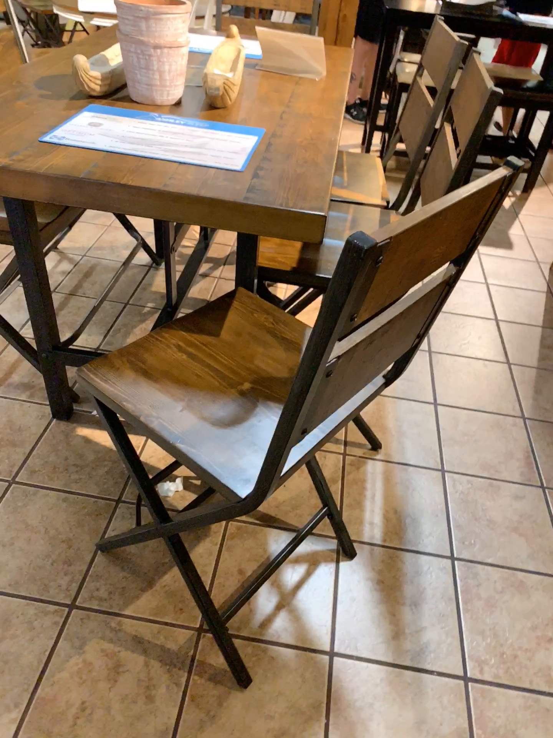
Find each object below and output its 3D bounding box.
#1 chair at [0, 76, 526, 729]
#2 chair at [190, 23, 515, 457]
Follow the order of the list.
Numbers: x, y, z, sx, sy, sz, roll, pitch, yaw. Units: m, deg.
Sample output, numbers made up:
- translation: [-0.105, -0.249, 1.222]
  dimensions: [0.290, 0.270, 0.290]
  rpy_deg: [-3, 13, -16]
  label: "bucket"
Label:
- translation: [-0.069, 0.061, 1.076]
  dimensions: [0.616, 0.983, 0.444]
  rpy_deg: [30, 43, 30]
  label: "chair"
- translation: [0.147, -0.318, 1.575]
  dimensions: [0.615, 1.003, 0.495]
  rpy_deg: [8, 40, 5]
  label: "chair"
